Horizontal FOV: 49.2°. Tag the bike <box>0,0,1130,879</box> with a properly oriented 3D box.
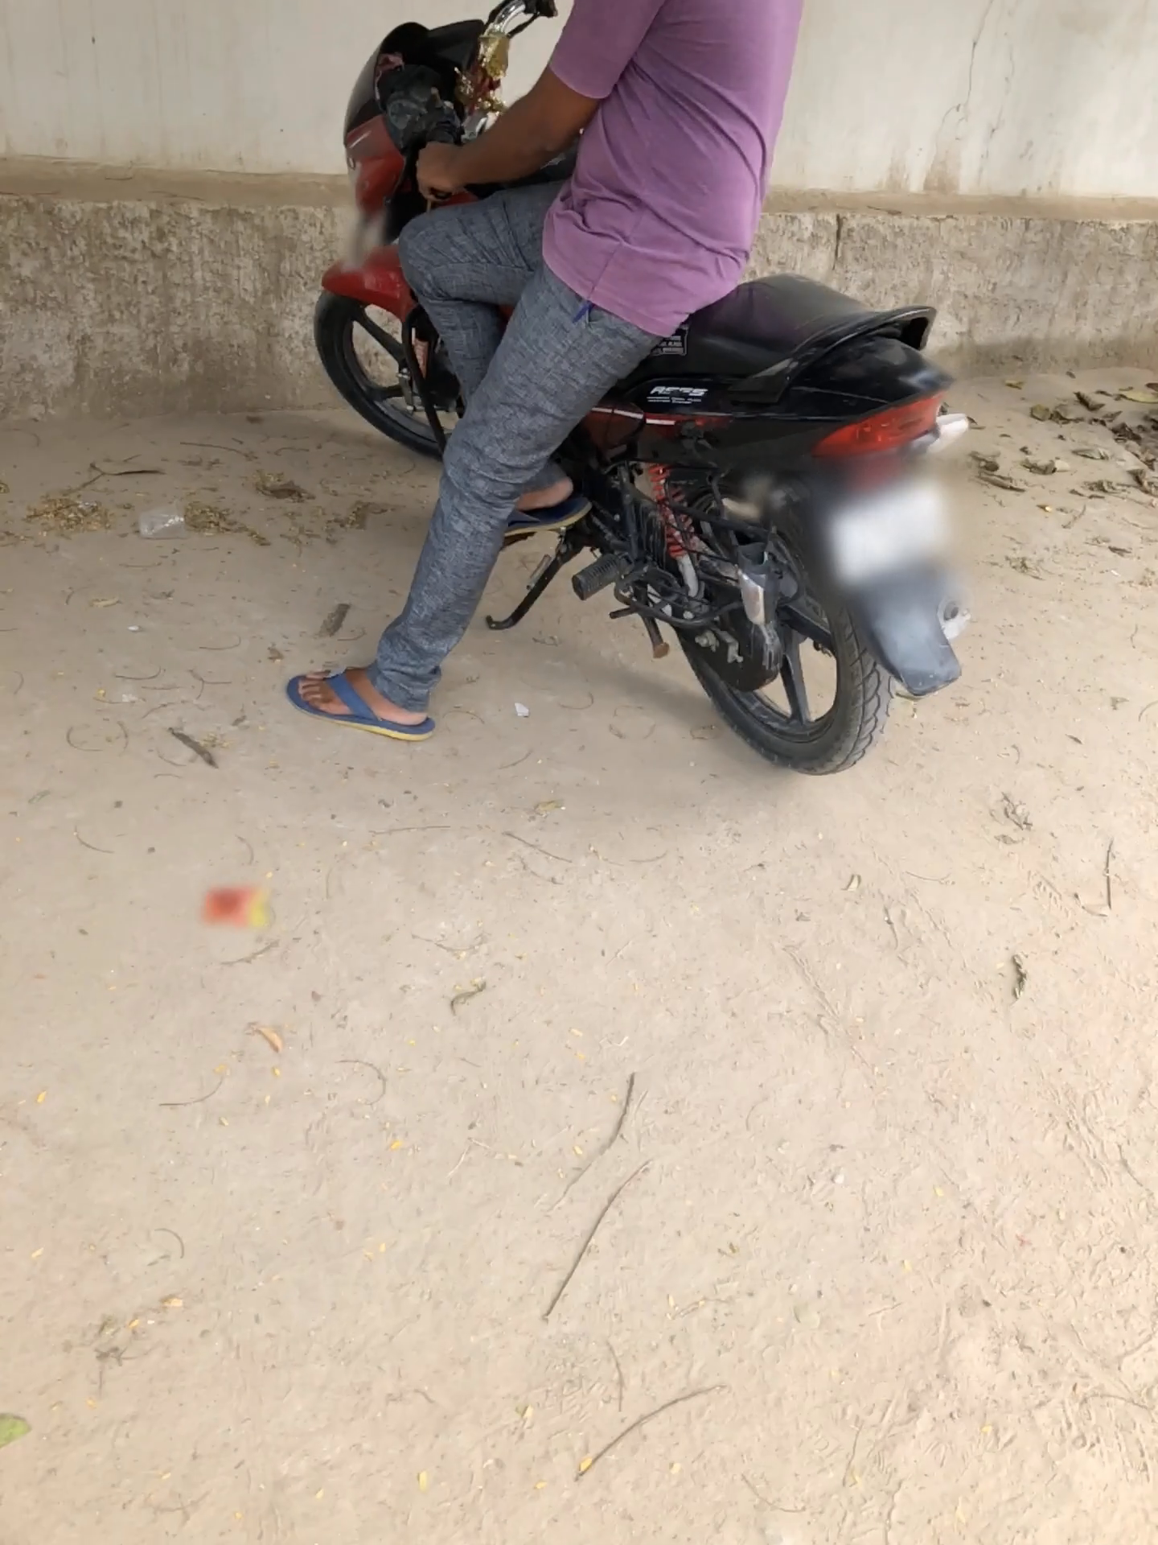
[{"bbox_3d":[-0.185,-0.885,2.142,0.744,1.086,1.701,-22,47,-36],"label":"bike"}]
